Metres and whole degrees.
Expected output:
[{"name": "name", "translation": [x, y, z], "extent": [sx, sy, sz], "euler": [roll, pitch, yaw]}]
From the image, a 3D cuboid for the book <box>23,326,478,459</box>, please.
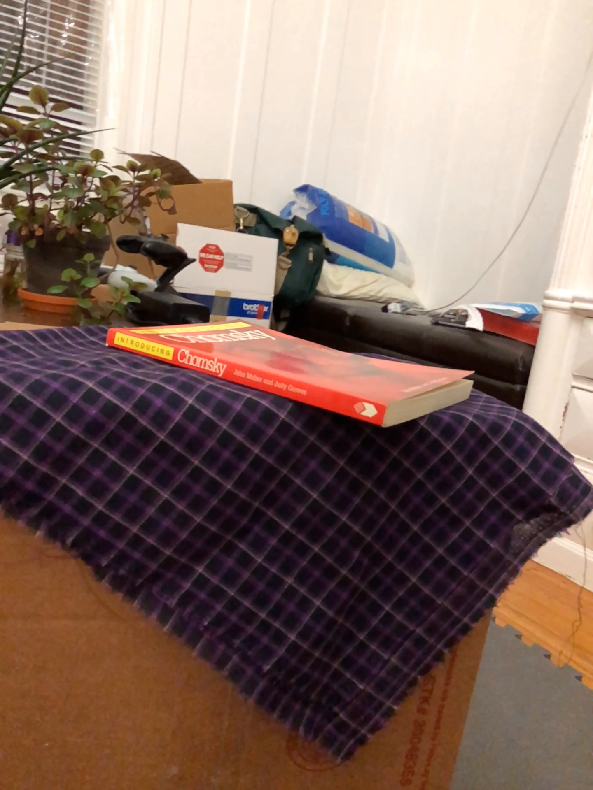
[{"name": "book", "translation": [-0.025, -0.015, 0.431], "extent": [0.240, 0.020, 0.180], "euler": [15, 13, 29]}]
